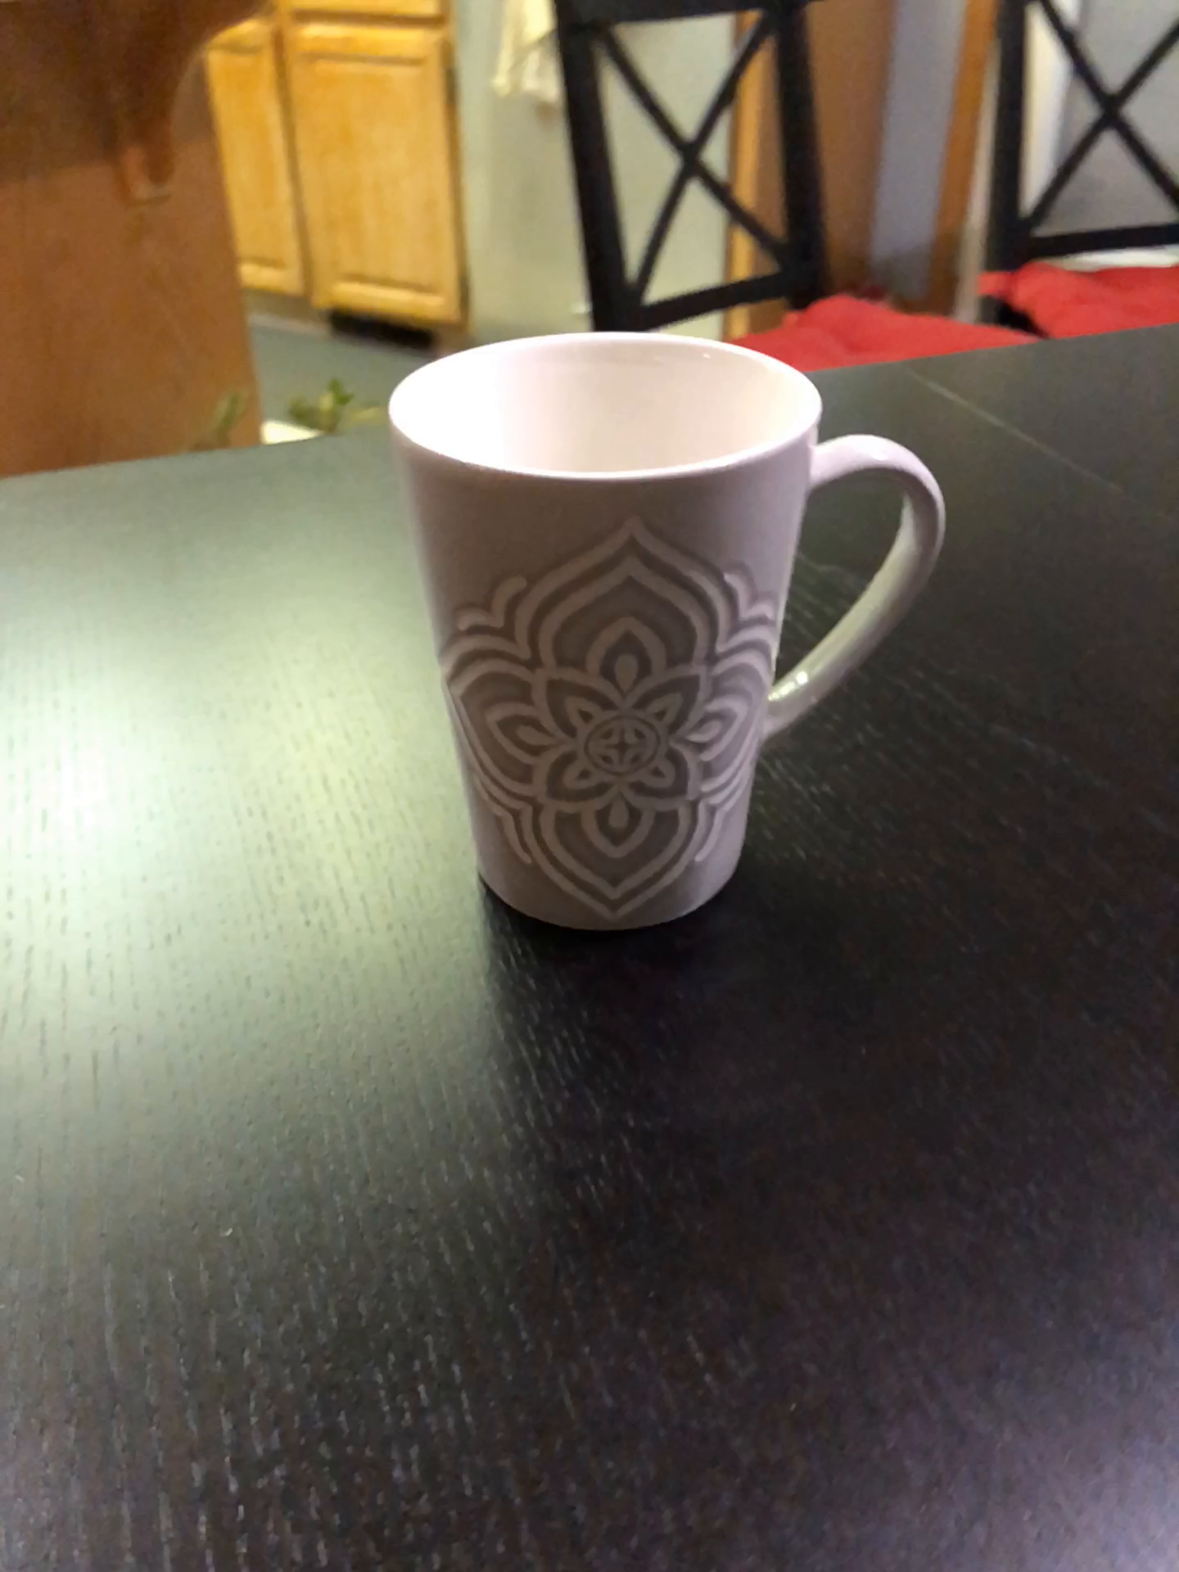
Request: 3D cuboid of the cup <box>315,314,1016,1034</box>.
[{"bbox_3d":[0.012,-0.034,0.334,0.130,0.129,0.101,-11,36,-15],"label":"cup"}]
